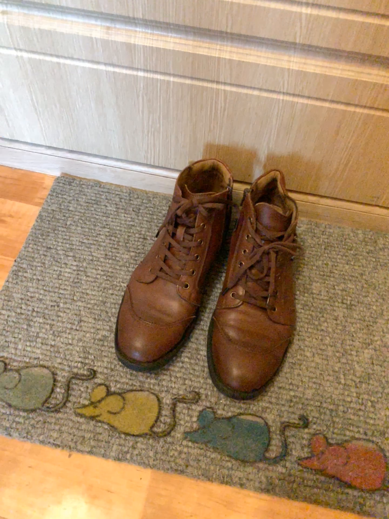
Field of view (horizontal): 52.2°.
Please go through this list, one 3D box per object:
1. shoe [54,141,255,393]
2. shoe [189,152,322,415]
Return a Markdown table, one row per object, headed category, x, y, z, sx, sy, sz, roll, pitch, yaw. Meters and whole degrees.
| category | x | y | z | sx | sy | sz | roll | pitch | yaw |
| --- | --- | --- | --- | --- | --- | --- | --- | --- | --- |
| shoe | -0.033 | 0.003 | 0.494 | 0.110 | 0.140 | 0.261 | 23 | 59 | 11 |
| shoe | 0.076 | 0.024 | 0.483 | 0.110 | 0.140 | 0.271 | 10 | 58 | 3 |
